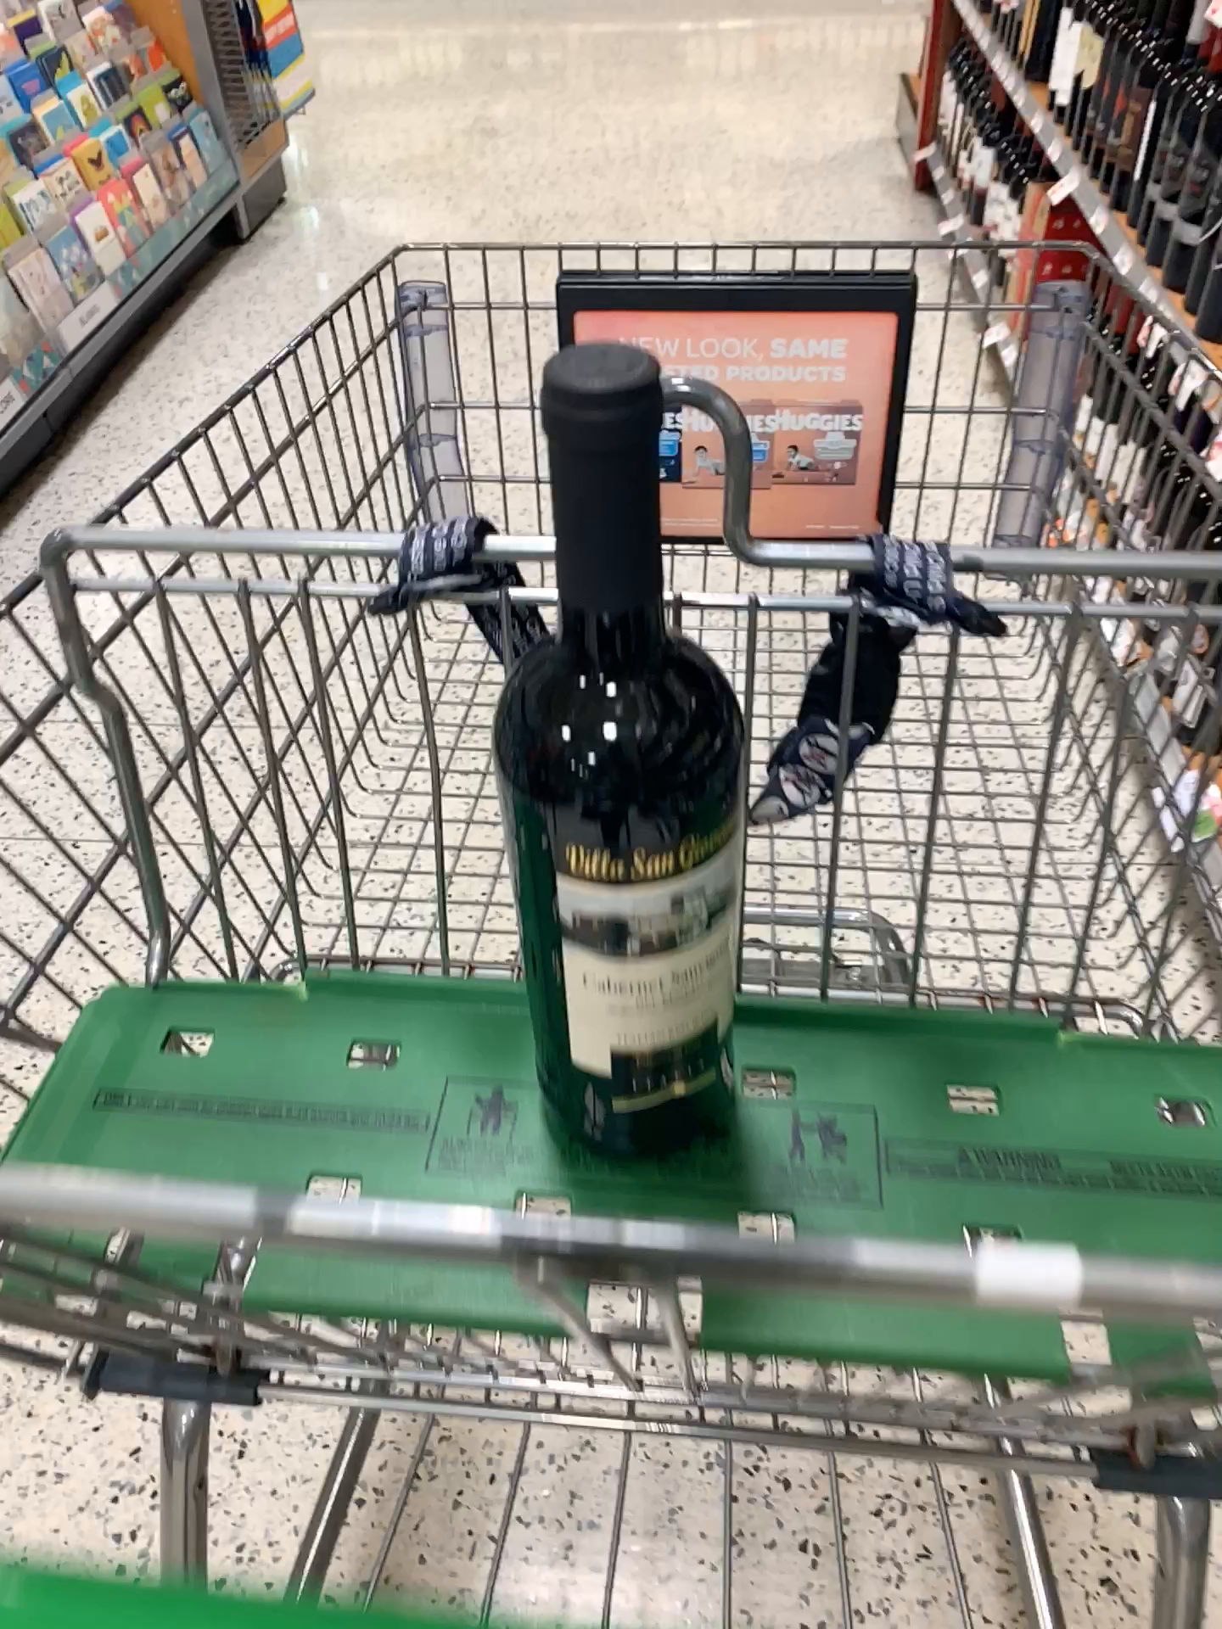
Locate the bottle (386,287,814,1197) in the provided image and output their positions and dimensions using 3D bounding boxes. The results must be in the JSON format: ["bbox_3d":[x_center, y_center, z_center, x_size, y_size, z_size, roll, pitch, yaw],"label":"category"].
[{"bbox_3d":[0.000,-0.001,0.385,0.080,0.278,0.075,-2,42,2],"label":"bottle"}]
